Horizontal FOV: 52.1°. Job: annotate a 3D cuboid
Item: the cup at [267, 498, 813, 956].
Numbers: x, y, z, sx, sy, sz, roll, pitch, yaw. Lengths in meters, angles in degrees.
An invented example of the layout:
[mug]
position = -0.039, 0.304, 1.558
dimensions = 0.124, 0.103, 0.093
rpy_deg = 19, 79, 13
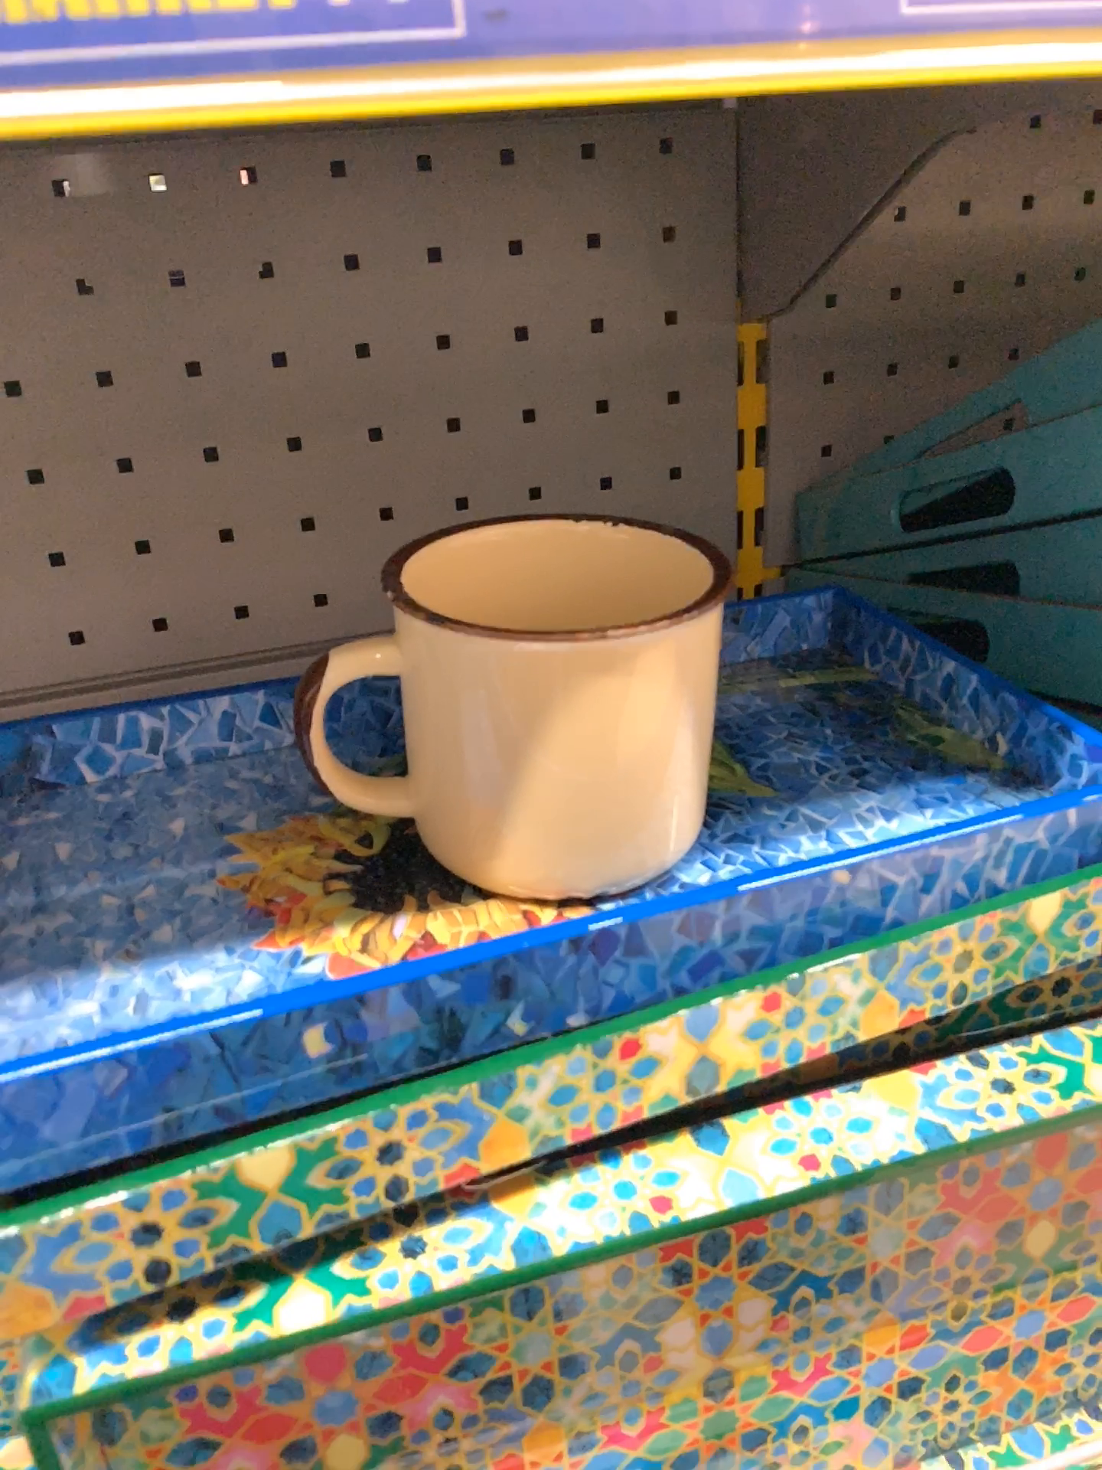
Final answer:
[cup]
position = -0.007, -0.010, 0.286
dimensions = 0.110, 0.070, 0.090
rpy_deg = -10, 26, -15
